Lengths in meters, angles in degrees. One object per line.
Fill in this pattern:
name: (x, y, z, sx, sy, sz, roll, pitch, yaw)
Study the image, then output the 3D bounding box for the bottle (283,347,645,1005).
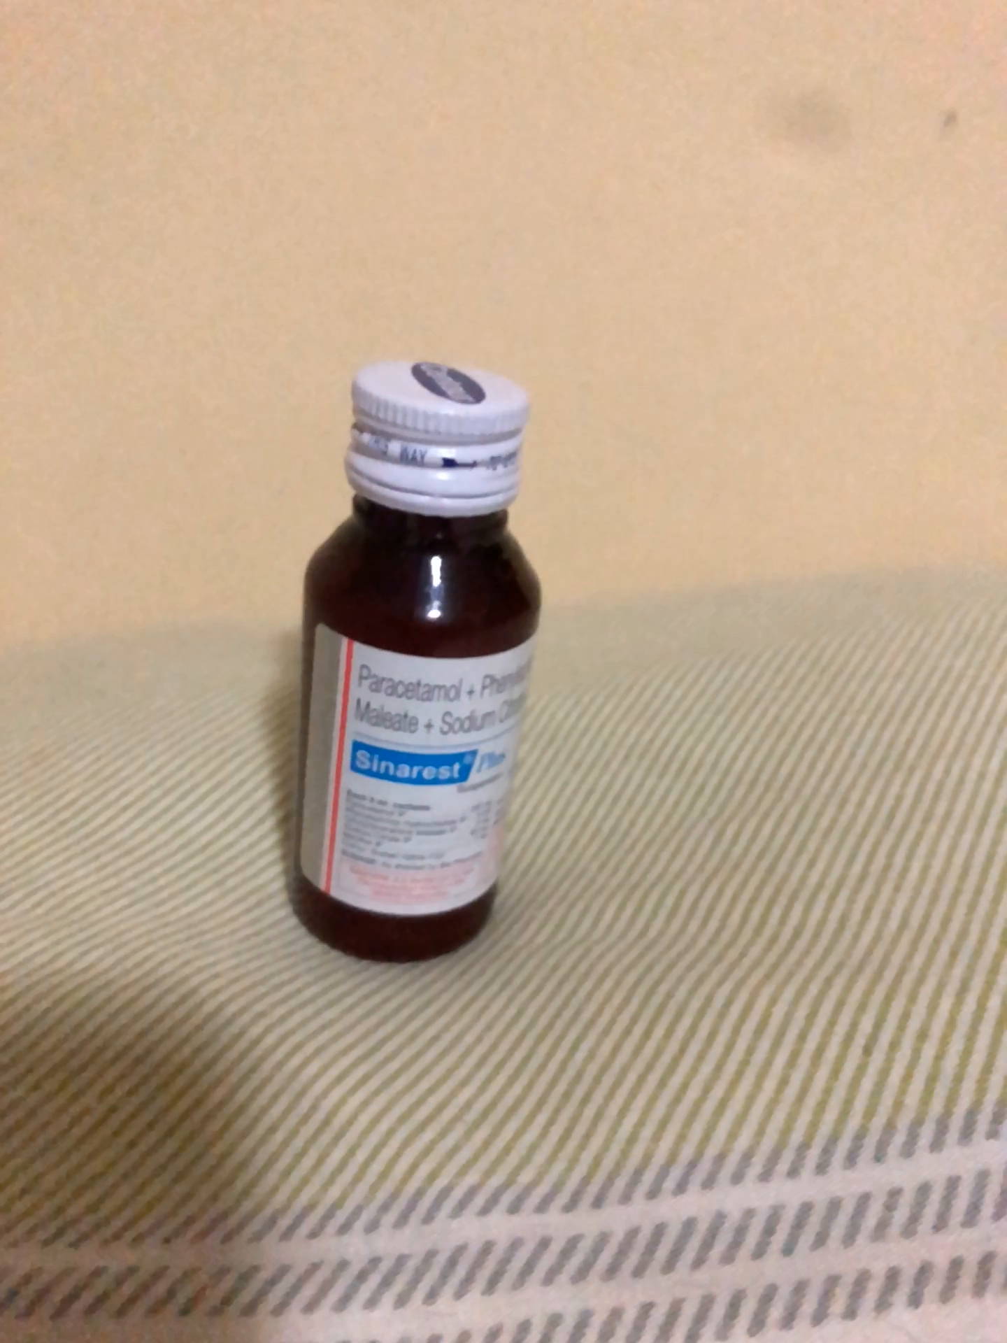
bottle: (-0.012, 0.001, 0.193, 0.040, 0.100, 0.040, 6, 27, -3)
